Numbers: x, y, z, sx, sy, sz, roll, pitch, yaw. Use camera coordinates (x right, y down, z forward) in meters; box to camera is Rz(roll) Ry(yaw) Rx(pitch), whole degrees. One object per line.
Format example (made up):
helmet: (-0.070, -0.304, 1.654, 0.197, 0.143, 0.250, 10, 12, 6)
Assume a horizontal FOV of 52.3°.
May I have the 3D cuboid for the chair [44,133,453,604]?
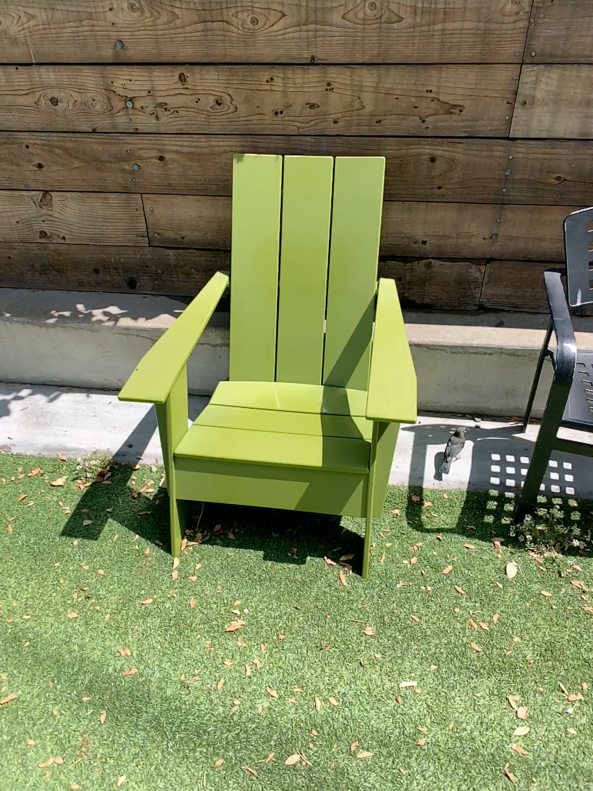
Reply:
chair: (-0.007, -0.129, 1.641, 0.721, 0.845, 0.905, 6, 39, 9)
